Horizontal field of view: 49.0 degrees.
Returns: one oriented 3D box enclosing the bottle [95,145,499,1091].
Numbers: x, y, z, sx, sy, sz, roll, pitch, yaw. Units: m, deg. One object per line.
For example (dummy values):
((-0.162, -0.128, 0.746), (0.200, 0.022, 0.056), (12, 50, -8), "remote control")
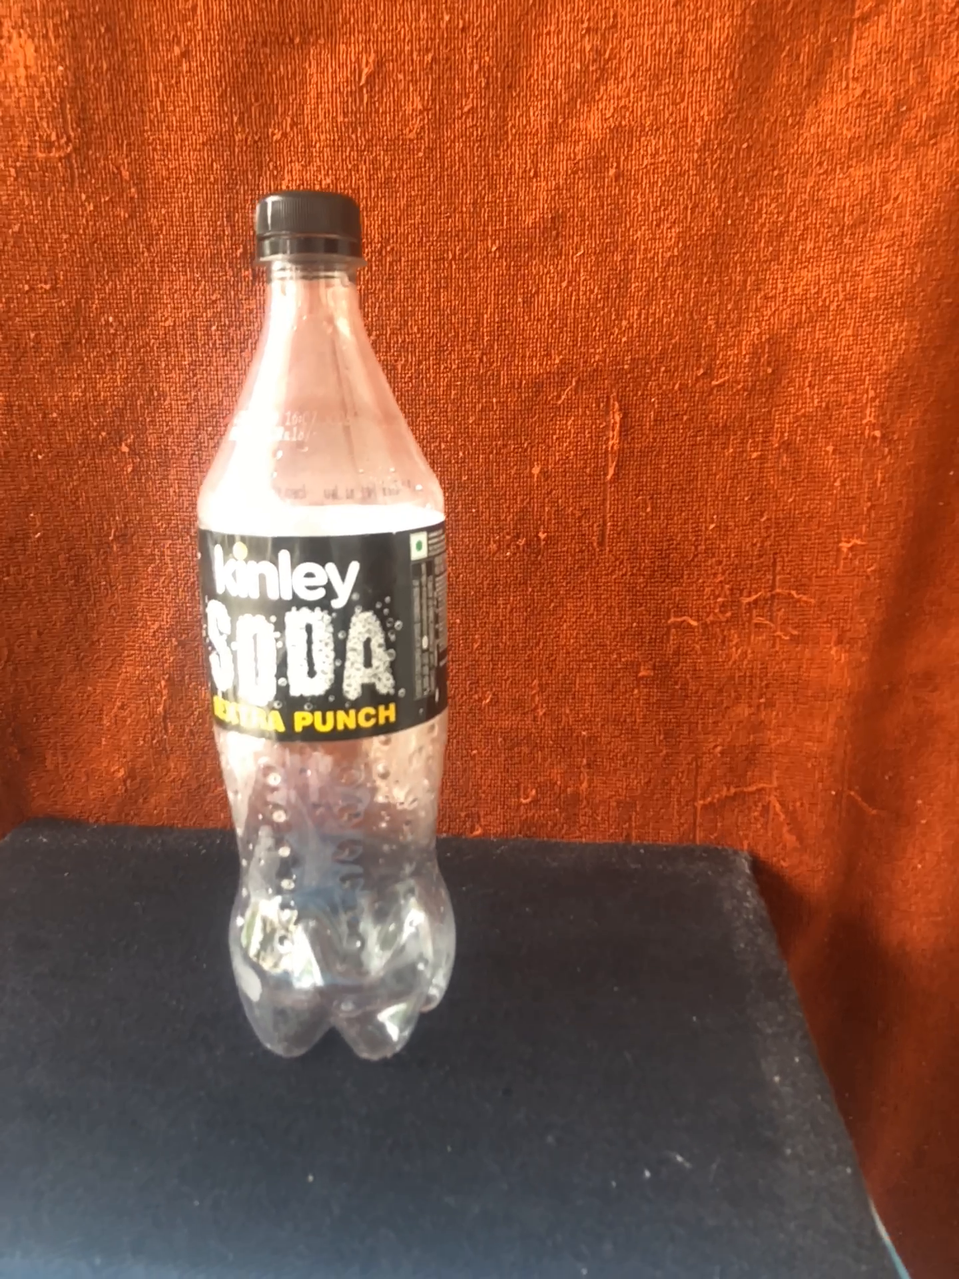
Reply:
((-0.047, -0.003, 0.320), (0.090, 0.259, 0.070), (4, 15, 9), "bottle")
